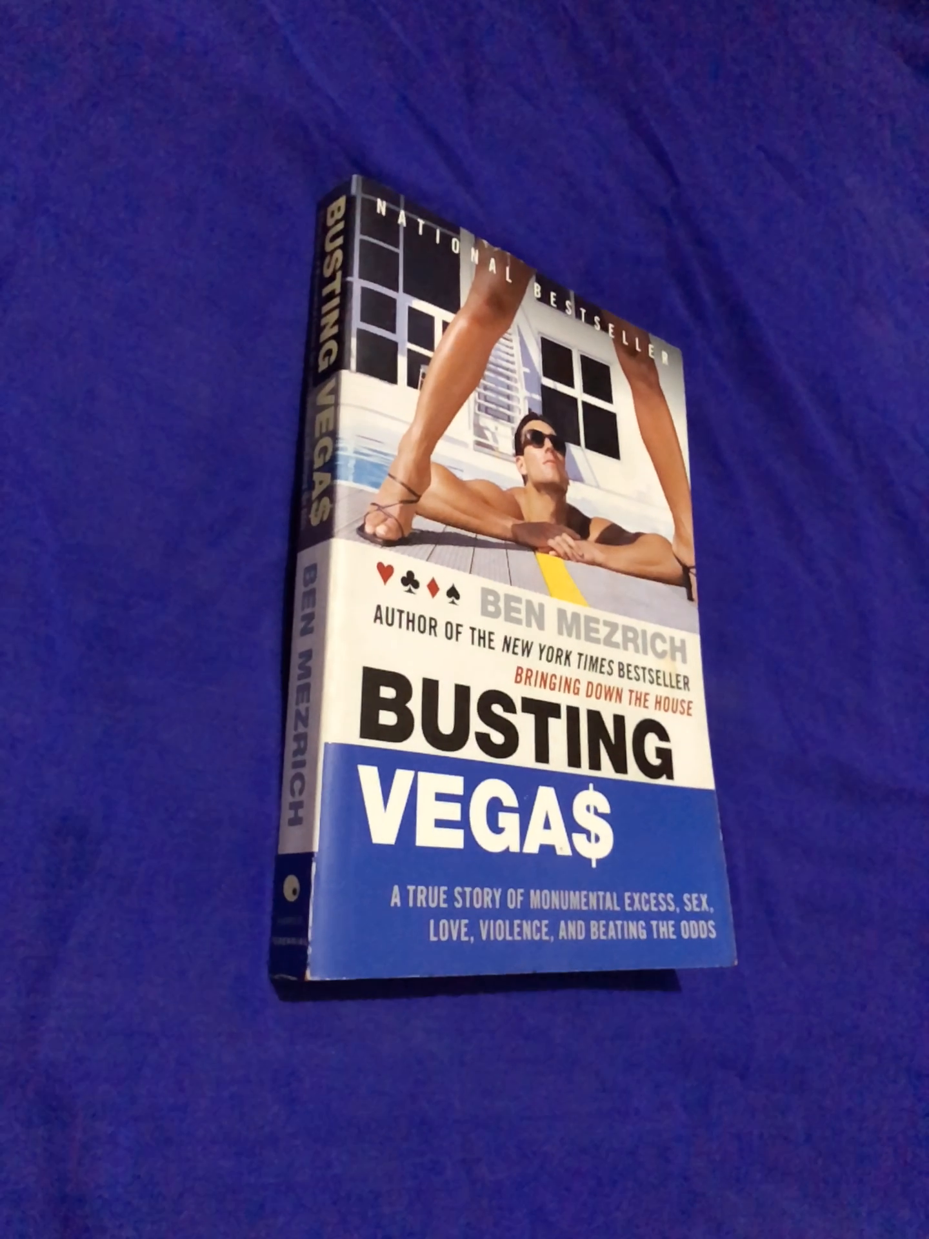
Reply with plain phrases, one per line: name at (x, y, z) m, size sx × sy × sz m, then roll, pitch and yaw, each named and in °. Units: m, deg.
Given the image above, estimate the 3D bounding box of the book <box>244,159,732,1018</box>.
book at (0.012, -0.003, 0.295) m, size 0.131 × 0.040 × 0.210 m, roll 14°, pitch 68°, yaw -38°
